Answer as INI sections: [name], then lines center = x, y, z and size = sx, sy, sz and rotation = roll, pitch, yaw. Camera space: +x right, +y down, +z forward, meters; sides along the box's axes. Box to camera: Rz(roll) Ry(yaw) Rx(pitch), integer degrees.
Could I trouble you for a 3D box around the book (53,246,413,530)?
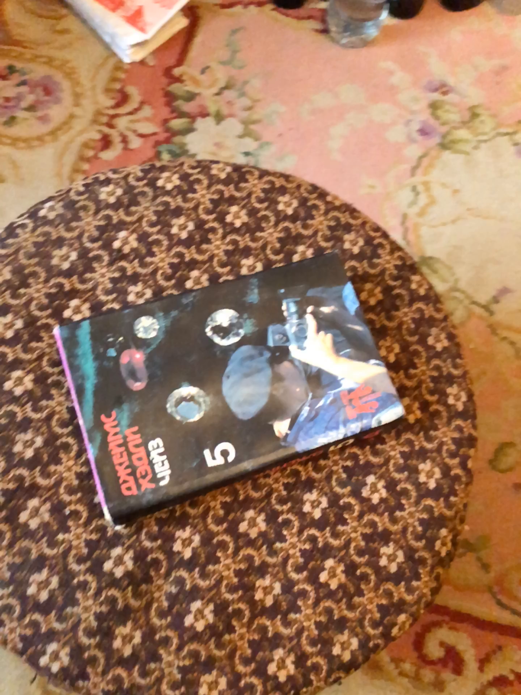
[book]
center = -0.017, 0.018, 0.386
size = 0.205, 0.020, 0.140
rotation = -15, 74, -16
